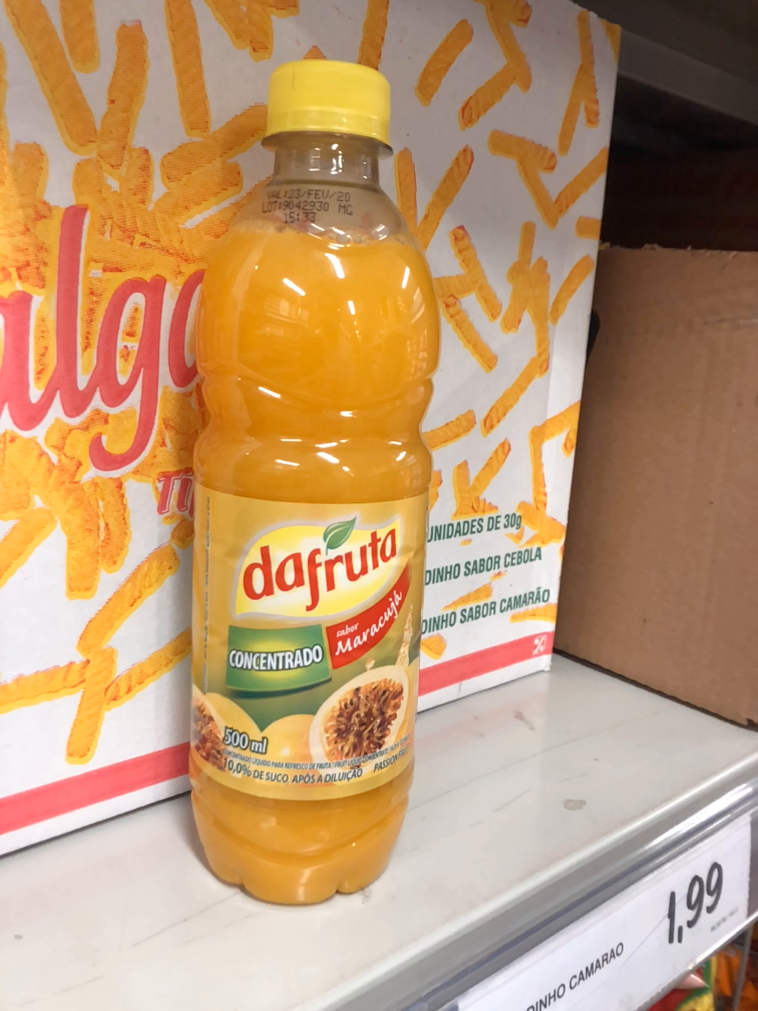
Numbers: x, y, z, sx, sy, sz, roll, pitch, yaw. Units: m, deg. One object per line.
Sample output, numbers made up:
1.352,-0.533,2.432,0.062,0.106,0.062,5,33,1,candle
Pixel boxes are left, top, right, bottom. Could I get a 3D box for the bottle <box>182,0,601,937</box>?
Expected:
-0.006,-0.004,0.215,0.070,0.199,0.060,-1,15,-25,bottle
